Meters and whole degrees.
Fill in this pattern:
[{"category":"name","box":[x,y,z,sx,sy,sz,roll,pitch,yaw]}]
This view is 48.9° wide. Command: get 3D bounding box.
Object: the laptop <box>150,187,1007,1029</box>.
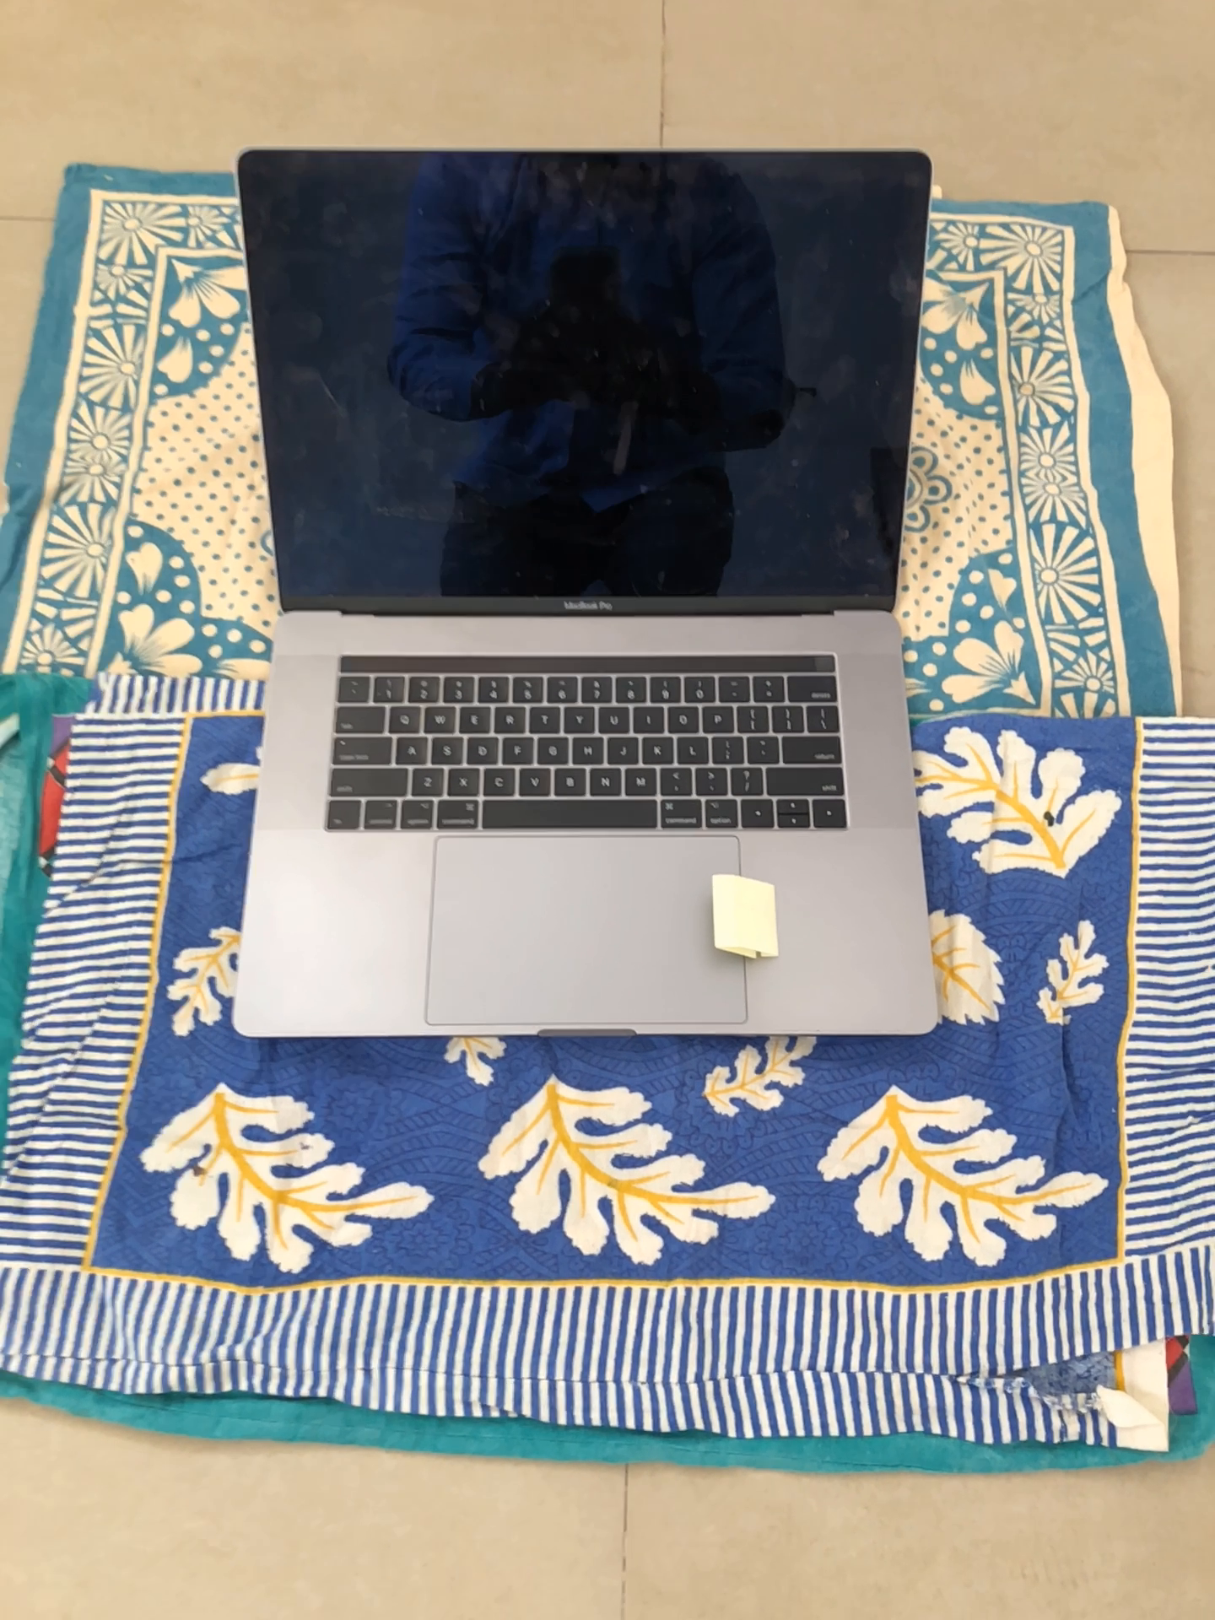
[{"category":"laptop","box":[-0.011,-0.102,0.658,0.336,0.132,0.402,0,69,-1]}]
